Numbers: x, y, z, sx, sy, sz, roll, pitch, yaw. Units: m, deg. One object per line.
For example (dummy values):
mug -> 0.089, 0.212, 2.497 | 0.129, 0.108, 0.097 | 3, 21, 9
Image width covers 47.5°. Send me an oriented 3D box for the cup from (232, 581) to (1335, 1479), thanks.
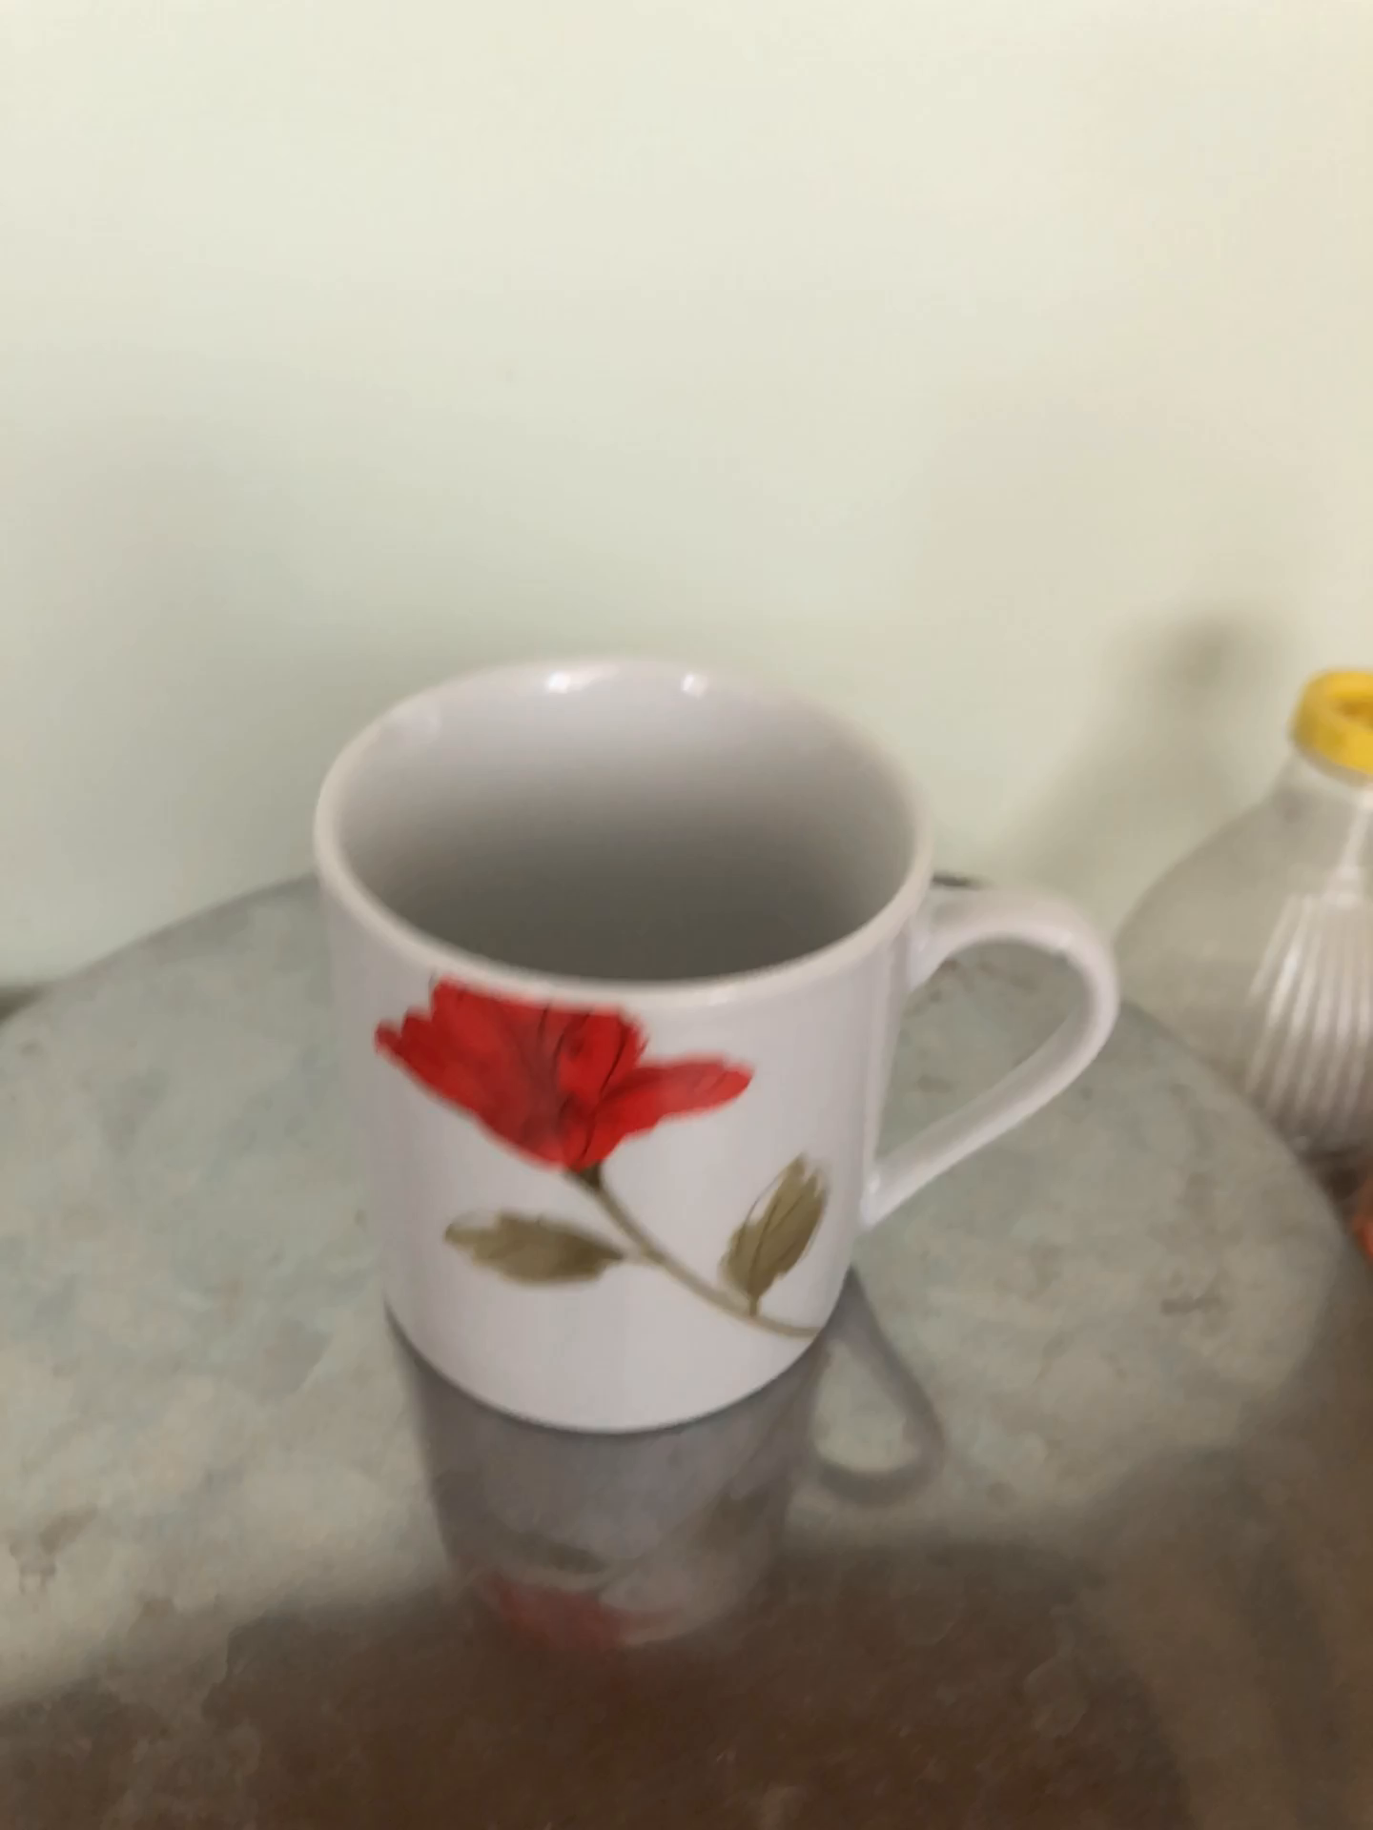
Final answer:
cup -> 0.006, 0.010, 0.155 | 0.080, 0.060, 0.060 | 3, 37, -2
